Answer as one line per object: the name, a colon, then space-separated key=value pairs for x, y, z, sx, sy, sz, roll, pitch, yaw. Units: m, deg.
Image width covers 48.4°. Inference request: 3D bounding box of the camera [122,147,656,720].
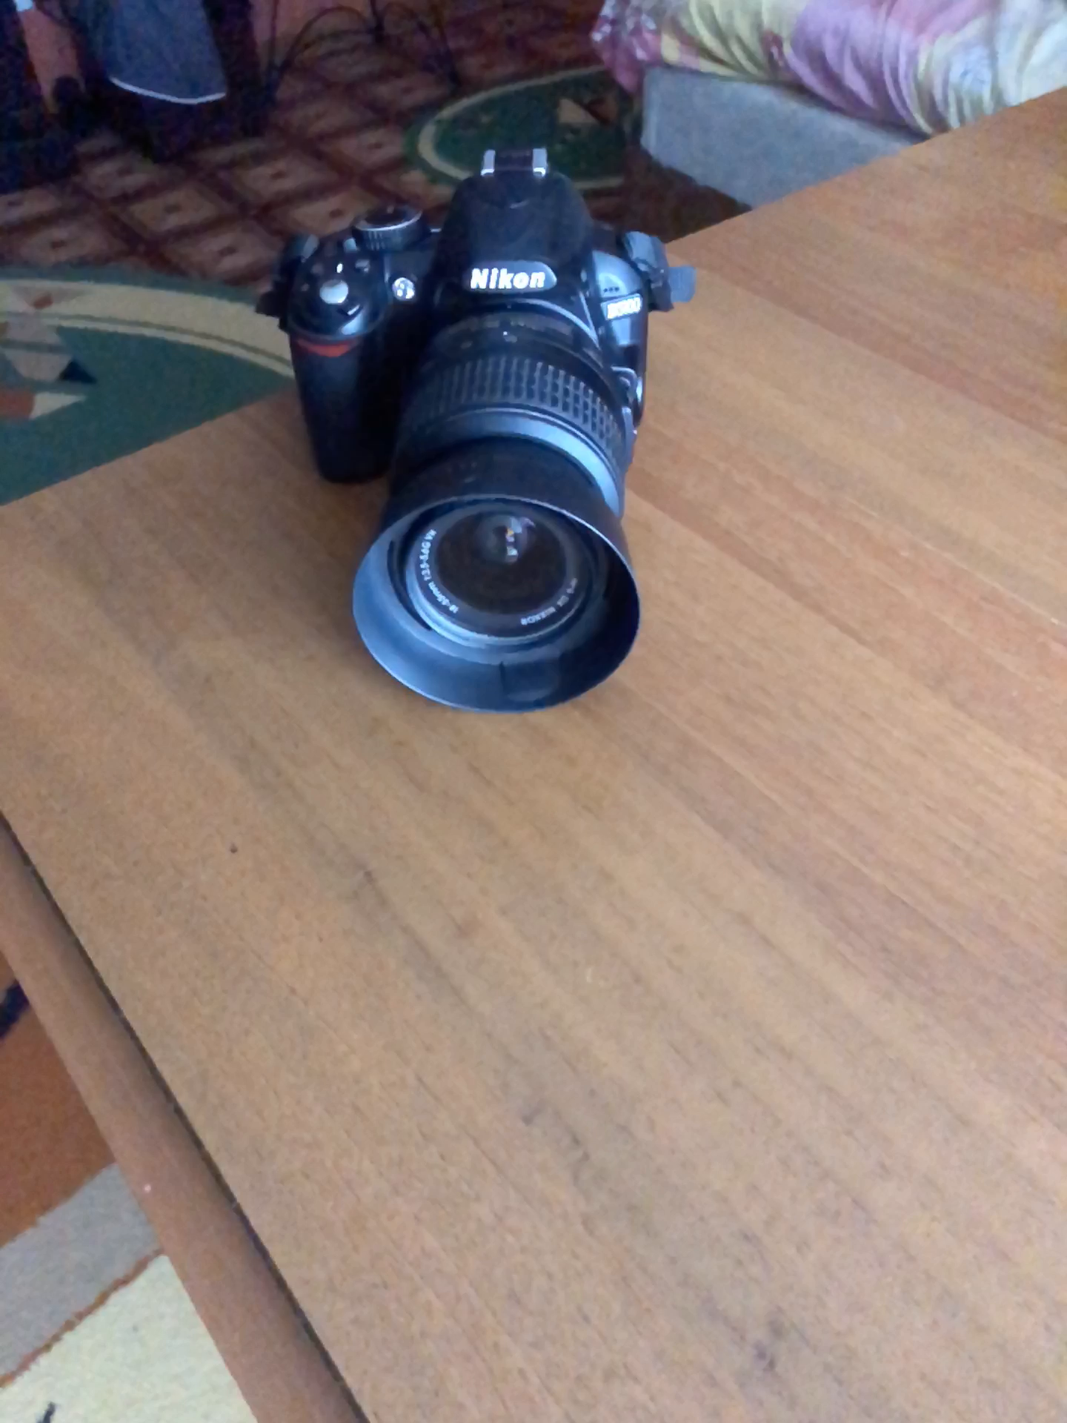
camera: x=-0.028 y=-0.098 z=0.379 sx=0.129 sy=0.092 sz=0.184 roll=2 pitch=46 yaw=4
